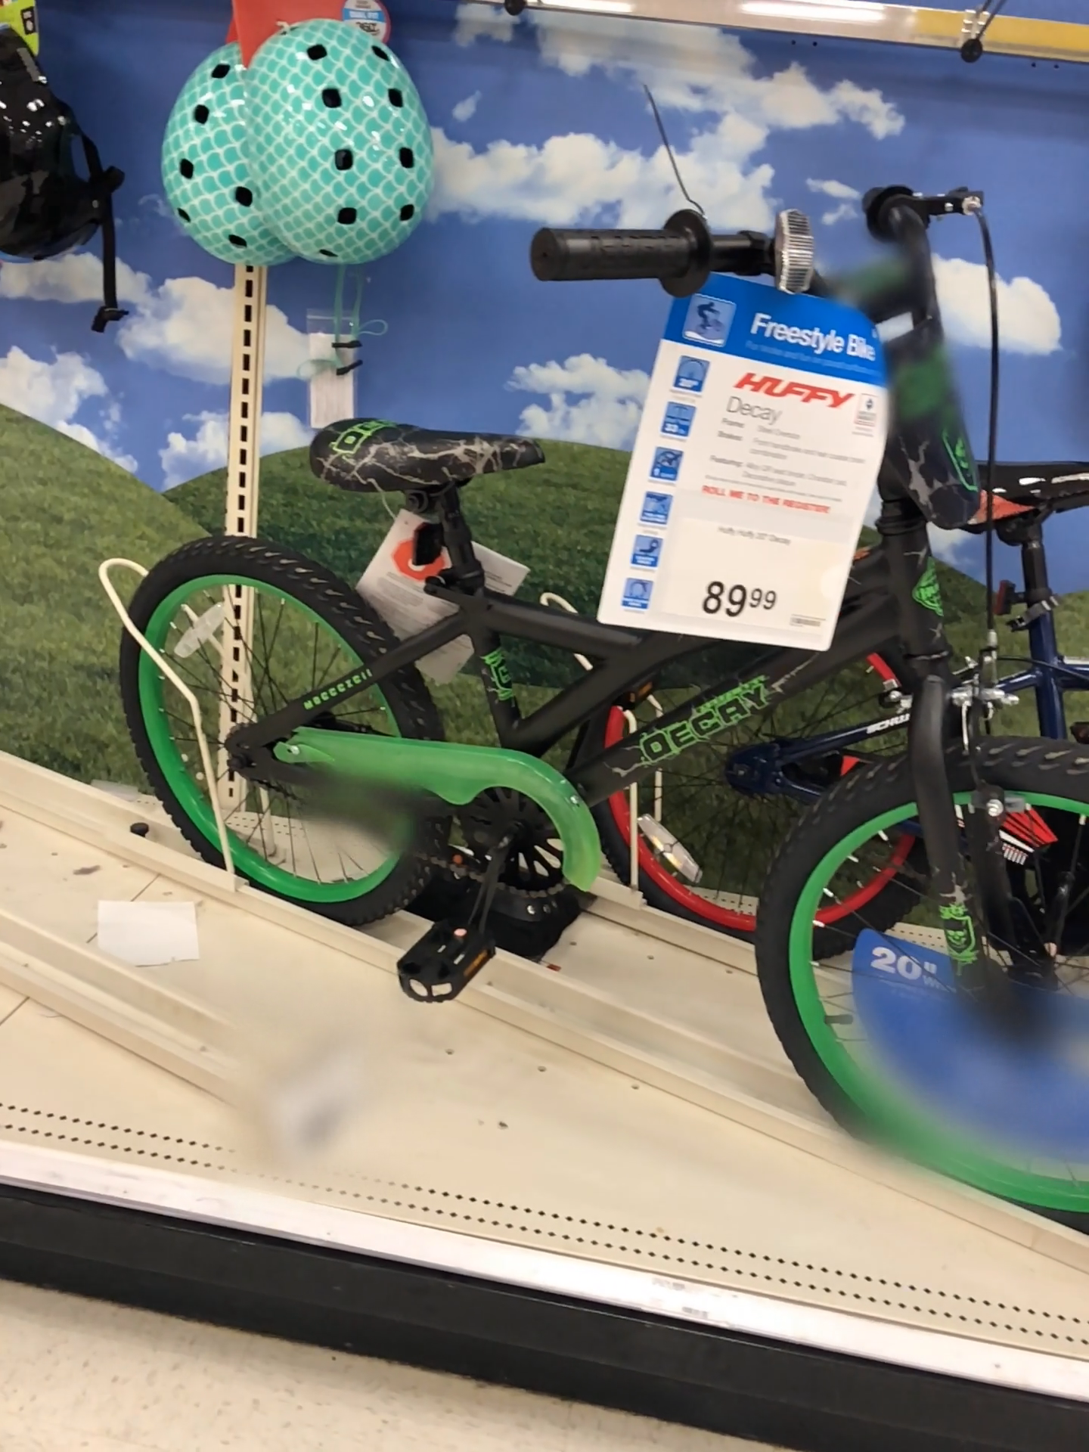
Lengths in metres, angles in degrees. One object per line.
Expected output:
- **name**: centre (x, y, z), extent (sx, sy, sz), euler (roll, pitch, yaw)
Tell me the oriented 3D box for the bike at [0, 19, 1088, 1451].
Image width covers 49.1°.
- **bike**: centre (0.077, -0.090, 1.157), extent (1.361, 0.880, 0.630), euler (15, 19, 25)
